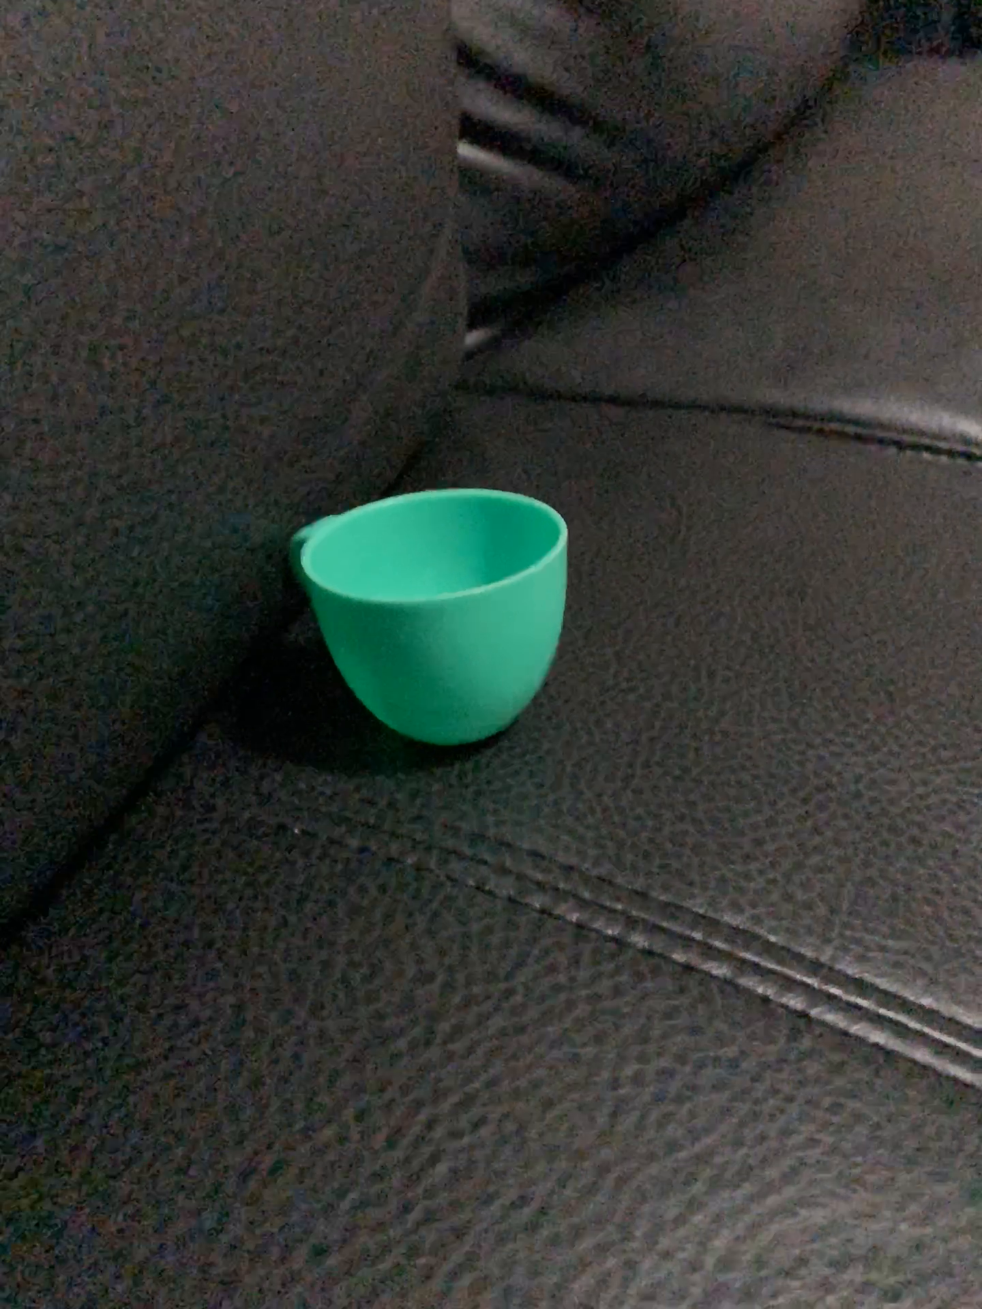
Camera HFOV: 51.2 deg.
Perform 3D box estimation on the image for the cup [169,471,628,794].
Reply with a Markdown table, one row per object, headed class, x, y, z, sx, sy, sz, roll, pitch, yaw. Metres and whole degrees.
| class | x | y | z | sx | sy | sz | roll | pitch | yaw |
| --- | --- | --- | --- | --- | --- | --- | --- | --- | --- |
| cup | -0.017 | -0.009 | 0.192 | 0.063 | 0.030 | 0.054 | 15 | 36 | 42 |
